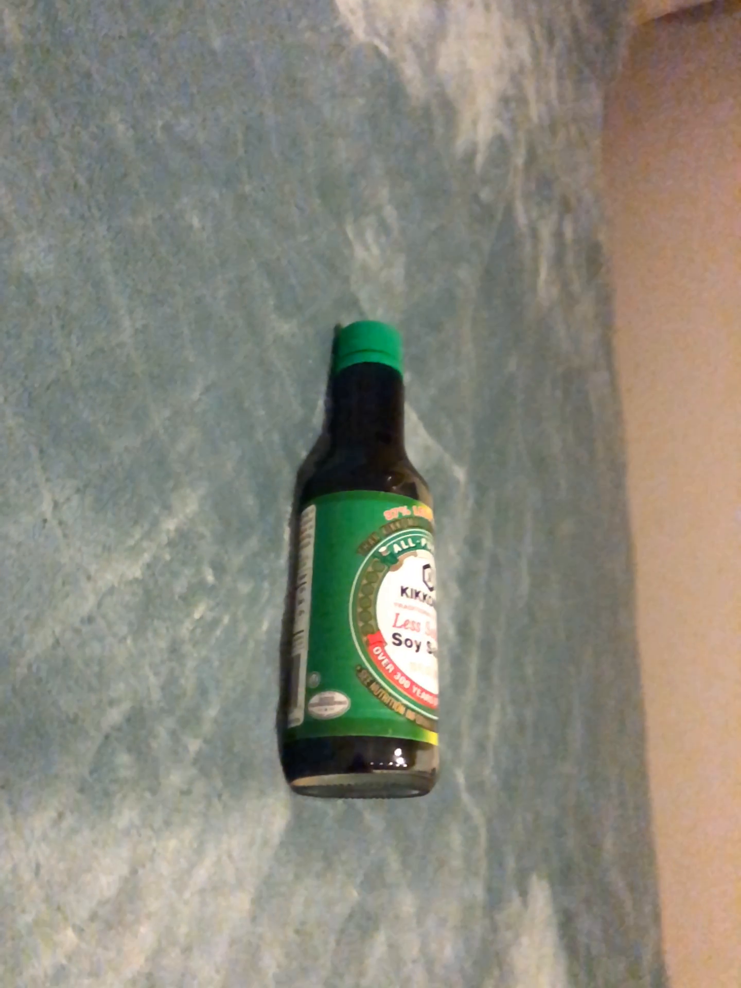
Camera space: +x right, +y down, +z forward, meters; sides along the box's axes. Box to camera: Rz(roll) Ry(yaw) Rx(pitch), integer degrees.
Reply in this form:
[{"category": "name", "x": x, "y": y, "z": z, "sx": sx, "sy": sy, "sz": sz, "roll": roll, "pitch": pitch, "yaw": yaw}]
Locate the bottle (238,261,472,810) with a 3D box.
[{"category": "bottle", "x": -0.004, "y": 0.017, "z": 0.342, "sx": 0.070, "sy": 0.060, "sz": 0.210, "roll": 41, "pitch": 43, "yaw": -56}]
